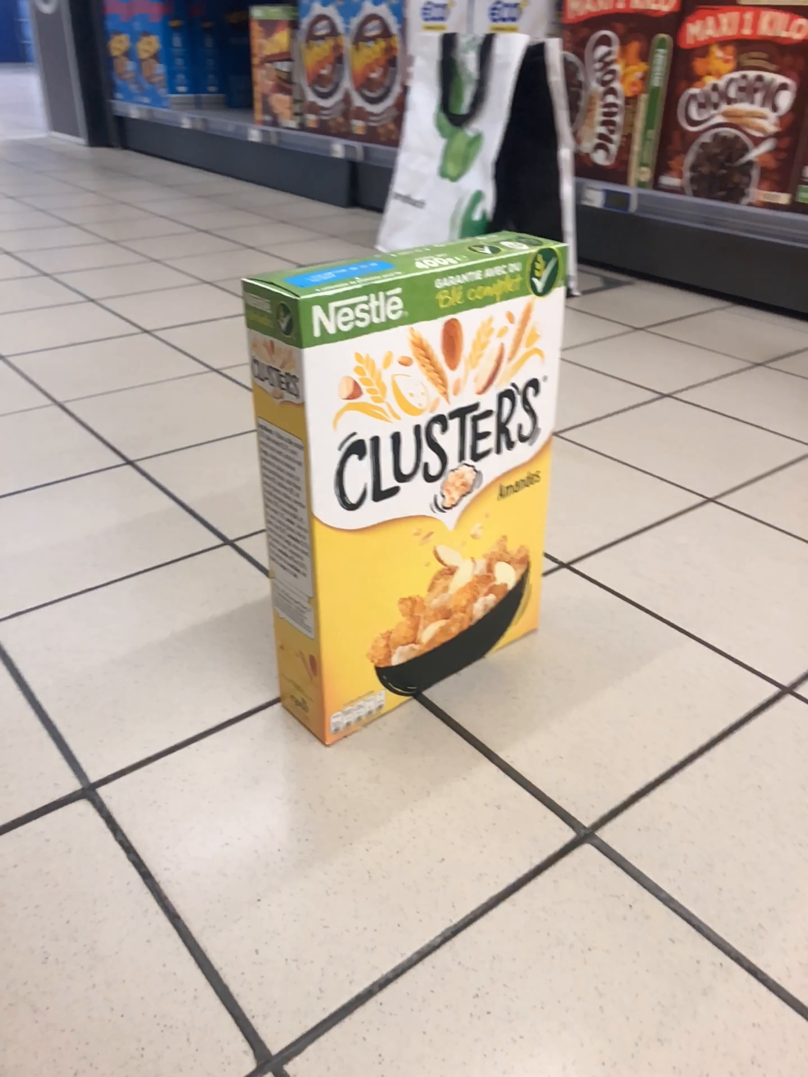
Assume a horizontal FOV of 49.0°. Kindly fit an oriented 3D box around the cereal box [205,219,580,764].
[{"bbox_3d":[0.003,-0.033,0.541,0.211,0.278,0.060,-22,35,-34],"label":"cereal box"}]
